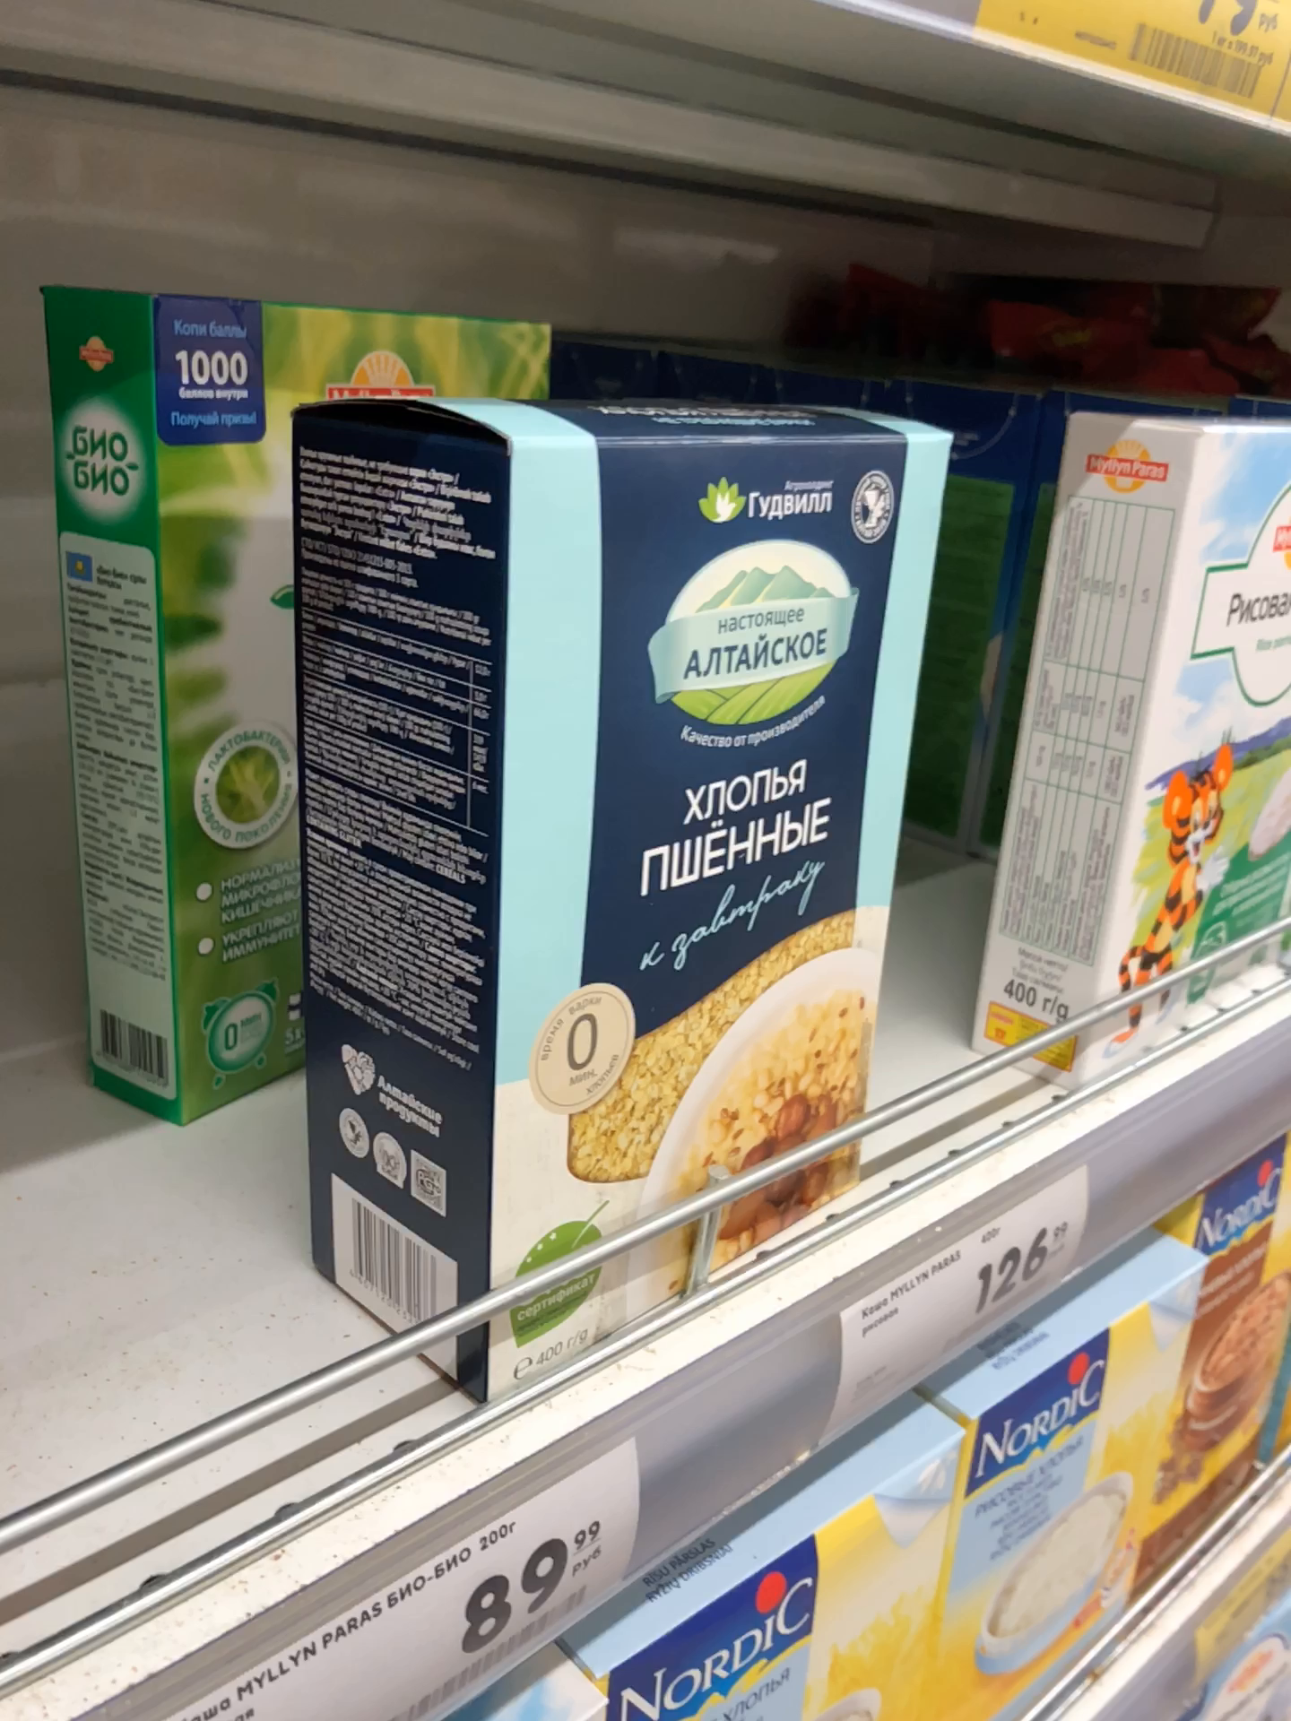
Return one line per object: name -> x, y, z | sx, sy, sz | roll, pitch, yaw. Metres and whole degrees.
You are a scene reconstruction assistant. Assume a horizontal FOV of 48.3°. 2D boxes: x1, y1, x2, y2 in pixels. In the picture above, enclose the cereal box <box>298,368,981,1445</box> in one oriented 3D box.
cereal box -> -0.001, 0.000, 0.316 | 0.060, 0.199, 0.130 | 22, 27, 40
